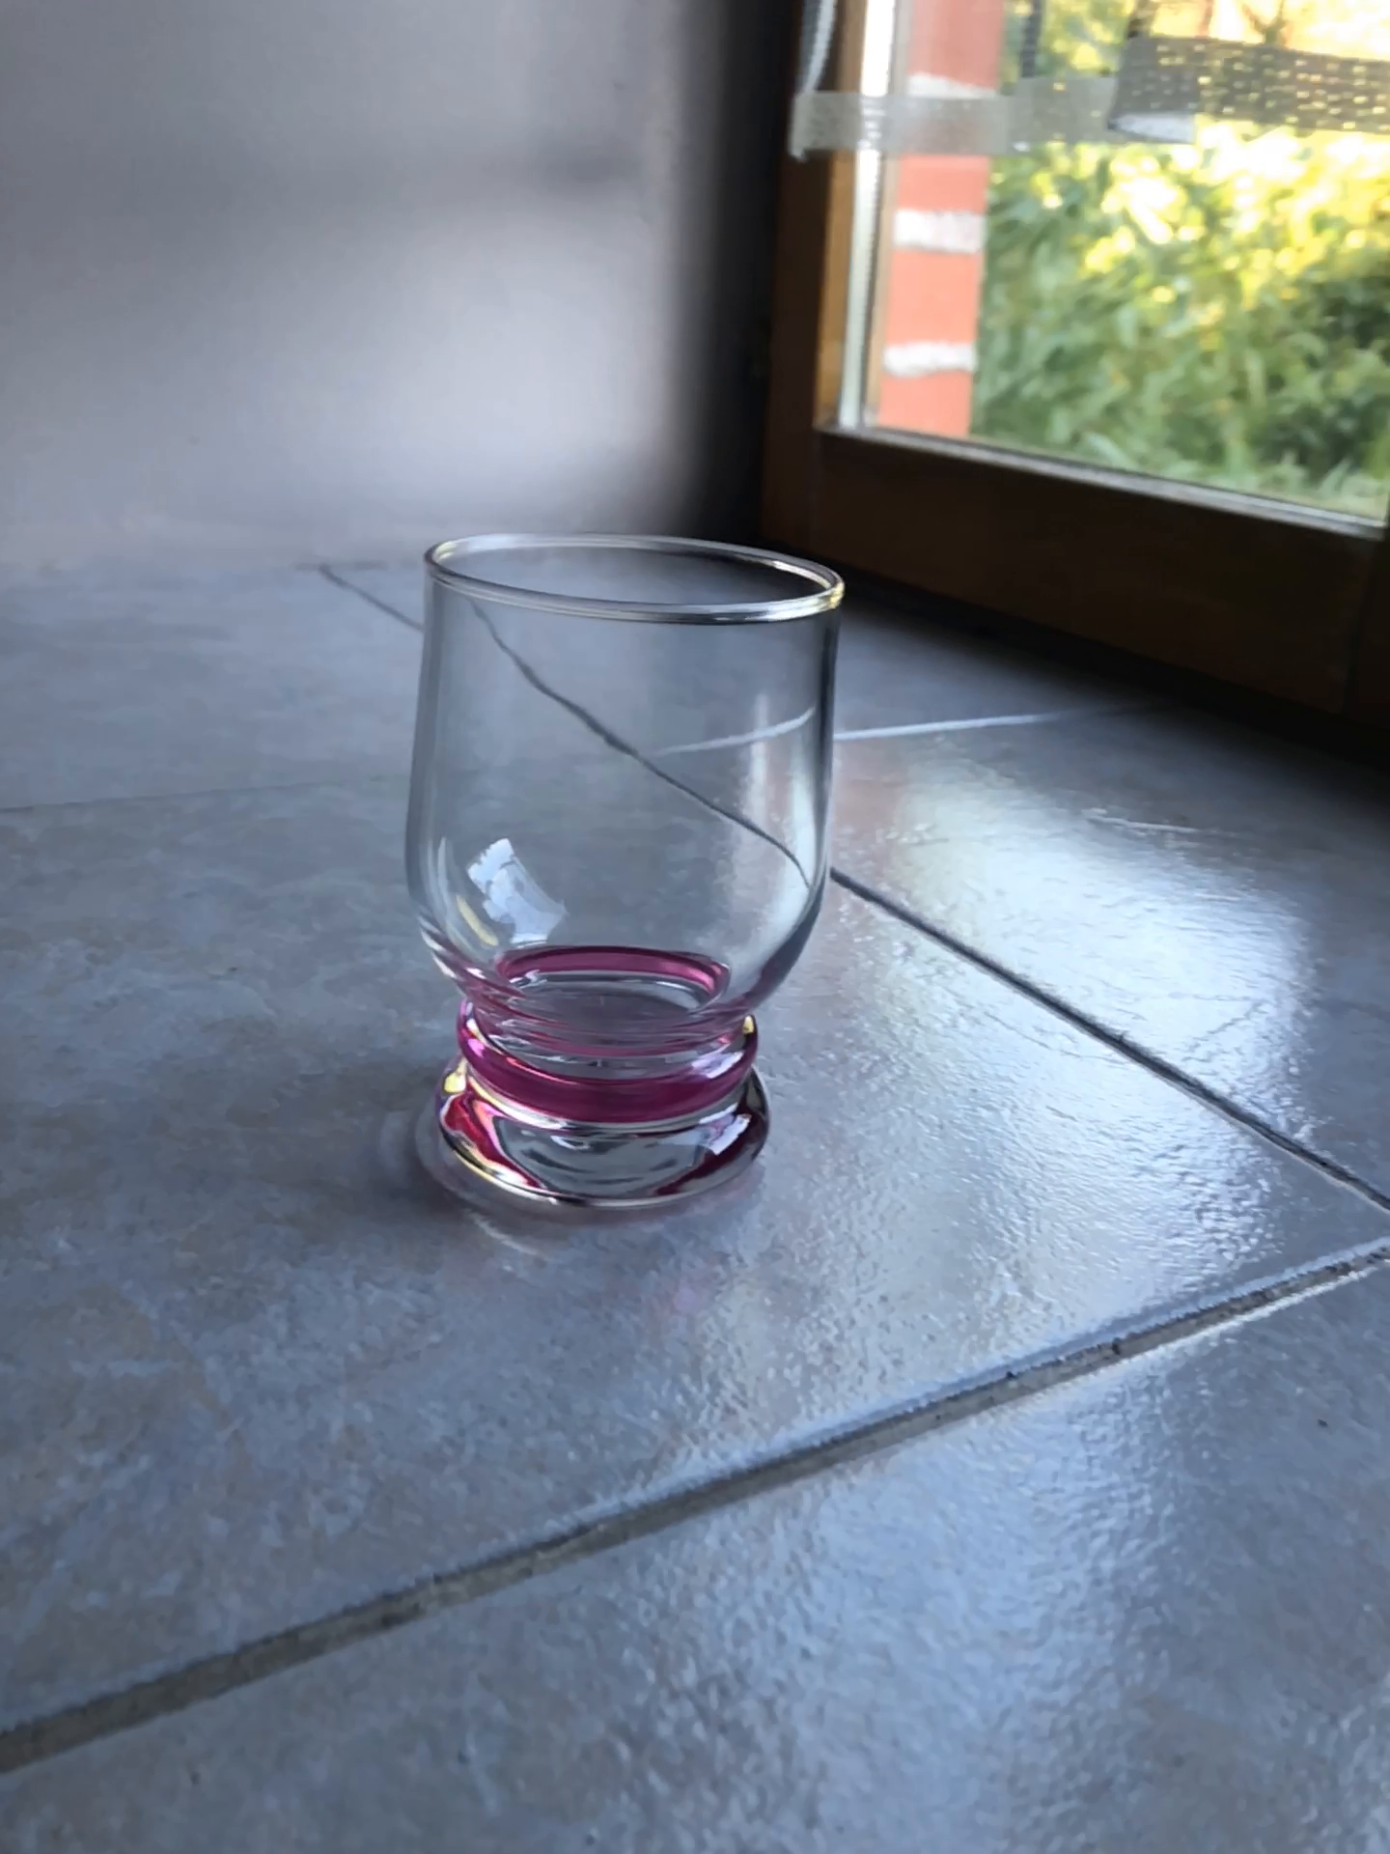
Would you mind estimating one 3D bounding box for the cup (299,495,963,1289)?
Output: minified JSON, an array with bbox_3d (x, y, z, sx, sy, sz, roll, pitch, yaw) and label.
[{"bbox_3d":[-0.009,-0.013,0.263,0.079,0.102,0.079,3,23,-1],"label":"cup"}]
